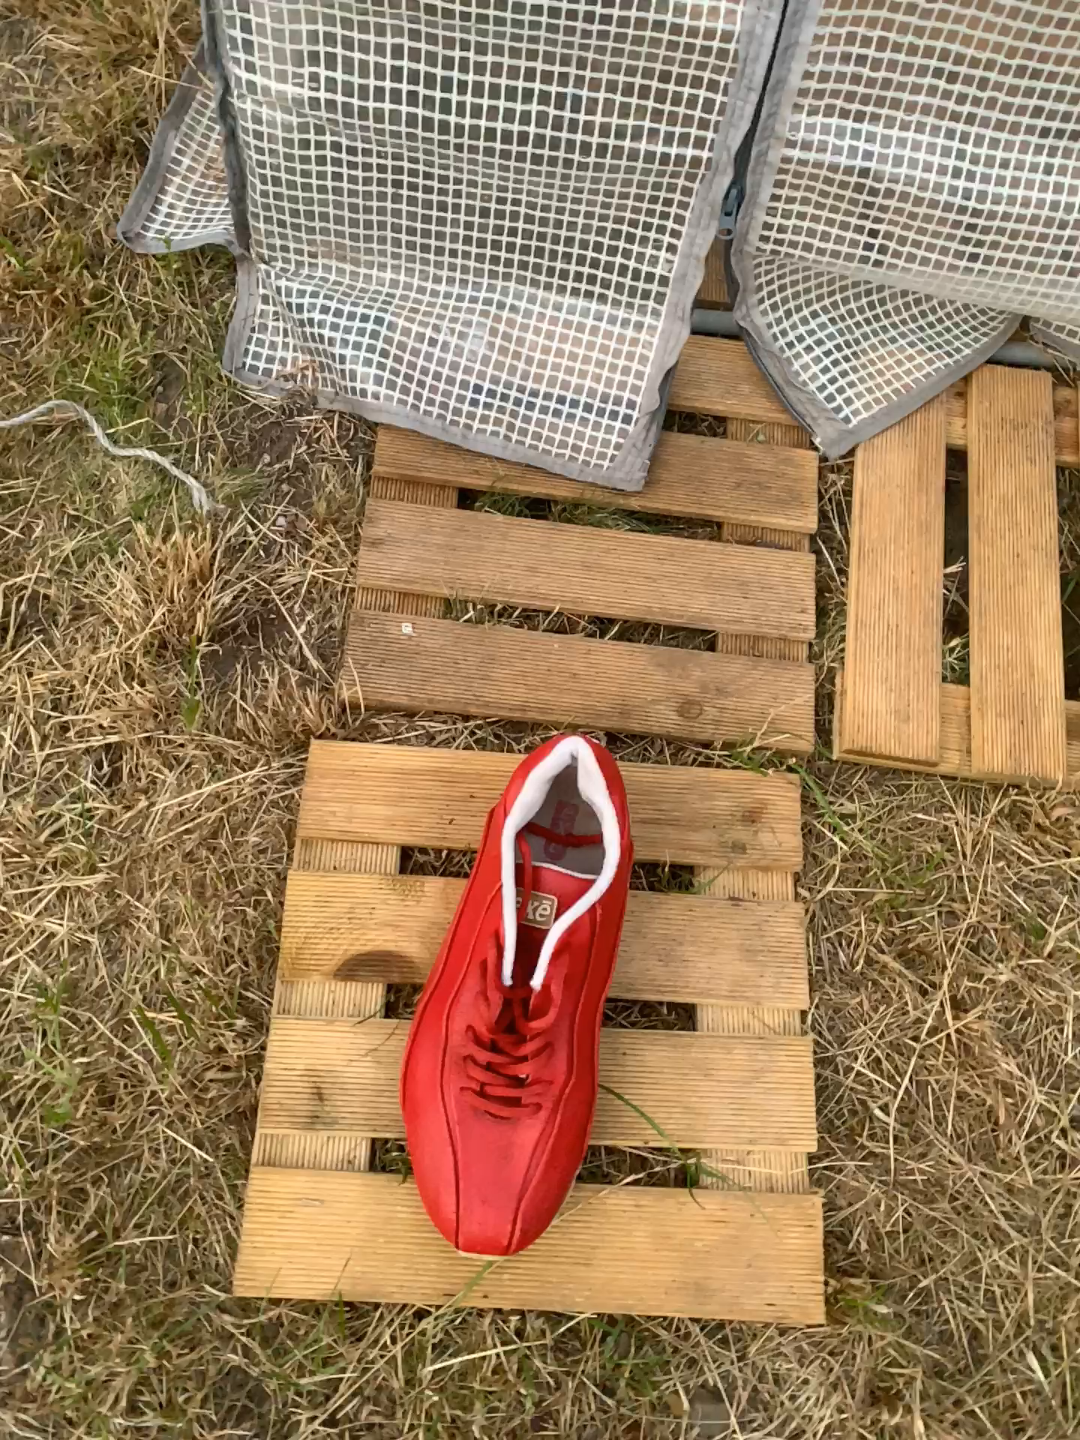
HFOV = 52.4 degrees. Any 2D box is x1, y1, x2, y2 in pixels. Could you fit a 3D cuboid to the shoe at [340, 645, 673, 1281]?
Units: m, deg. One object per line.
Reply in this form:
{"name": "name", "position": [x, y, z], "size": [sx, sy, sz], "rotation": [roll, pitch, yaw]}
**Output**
{"name": "shoe", "position": [-0.011, 0.122, 0.565], "size": [0.100, 0.129, 0.282], "rotation": [12, 63, 1]}
